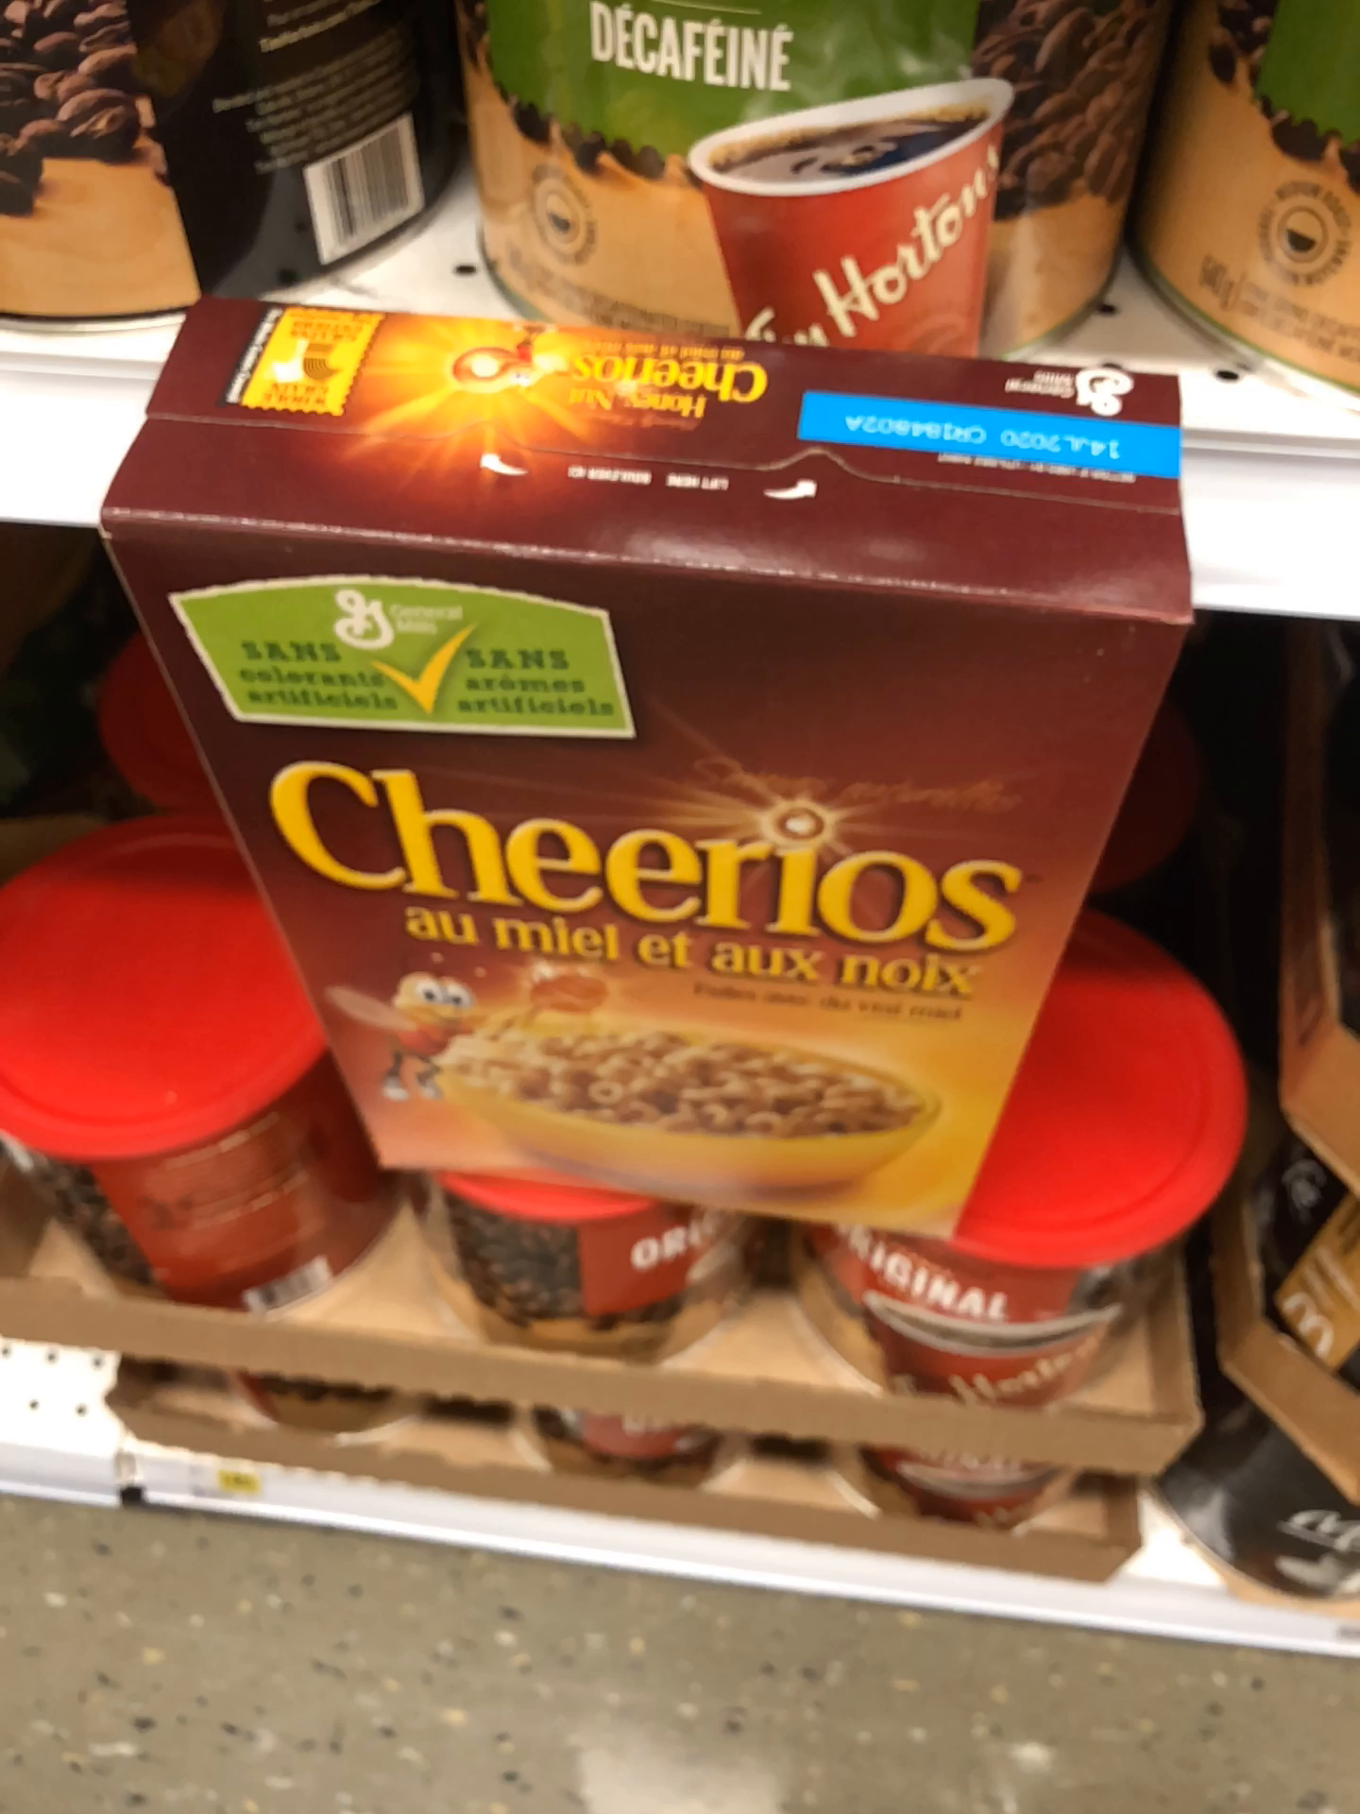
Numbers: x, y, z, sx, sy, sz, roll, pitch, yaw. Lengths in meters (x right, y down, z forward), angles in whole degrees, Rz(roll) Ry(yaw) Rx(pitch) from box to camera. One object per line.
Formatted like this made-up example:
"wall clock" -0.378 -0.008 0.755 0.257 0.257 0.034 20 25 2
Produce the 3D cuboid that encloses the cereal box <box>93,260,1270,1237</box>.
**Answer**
"cereal box" 0.004 -0.011 0.395 0.200 0.289 0.060 7 57 6
